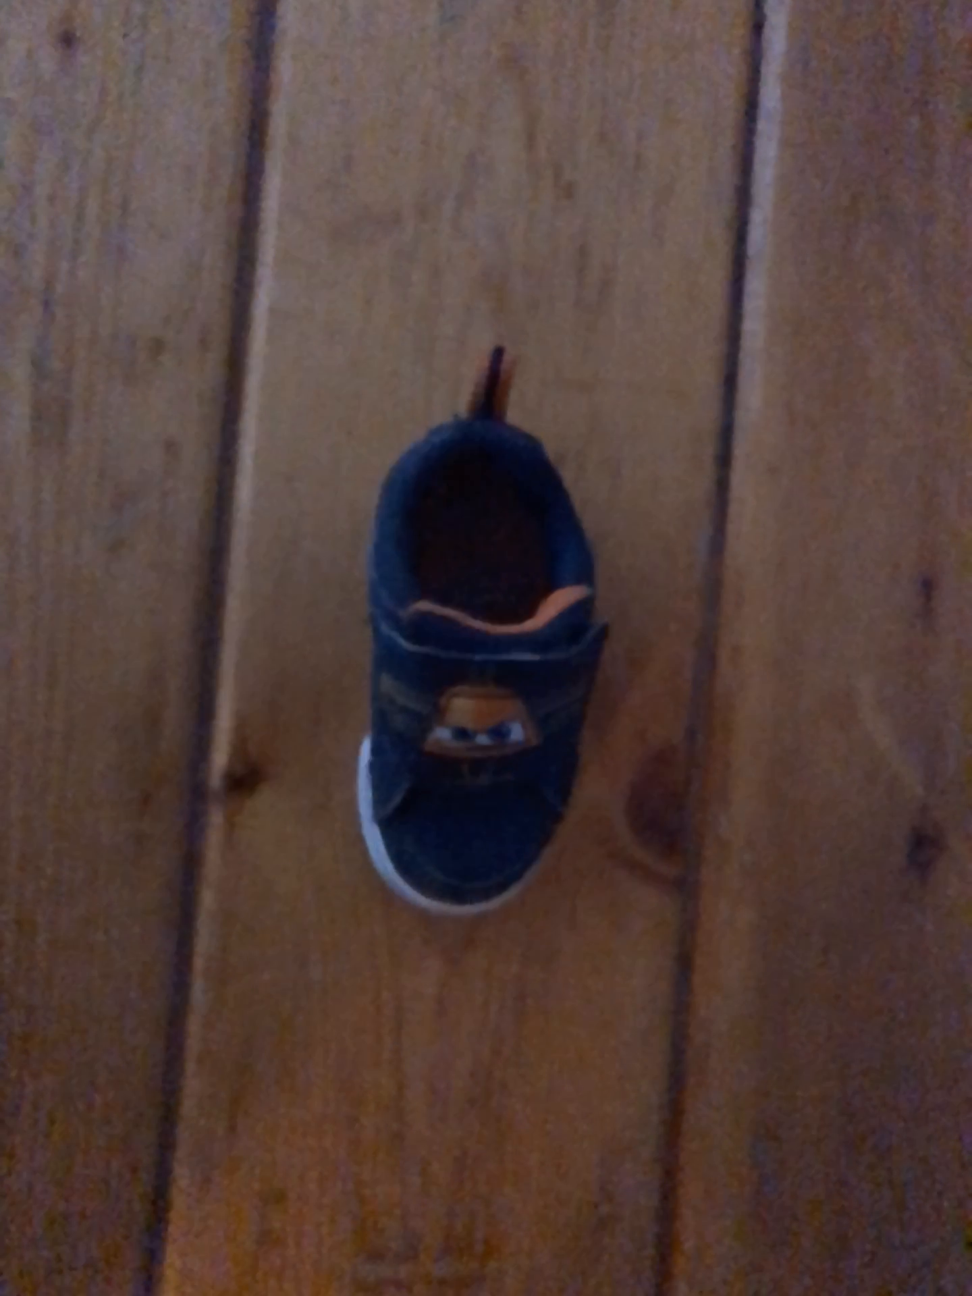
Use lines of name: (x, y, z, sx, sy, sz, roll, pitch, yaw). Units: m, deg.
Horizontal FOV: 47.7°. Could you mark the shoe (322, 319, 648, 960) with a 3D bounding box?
shoe: (-0.004, 0.000, 0.320, 0.070, 0.070, 0.160, 6, 87, -9)
